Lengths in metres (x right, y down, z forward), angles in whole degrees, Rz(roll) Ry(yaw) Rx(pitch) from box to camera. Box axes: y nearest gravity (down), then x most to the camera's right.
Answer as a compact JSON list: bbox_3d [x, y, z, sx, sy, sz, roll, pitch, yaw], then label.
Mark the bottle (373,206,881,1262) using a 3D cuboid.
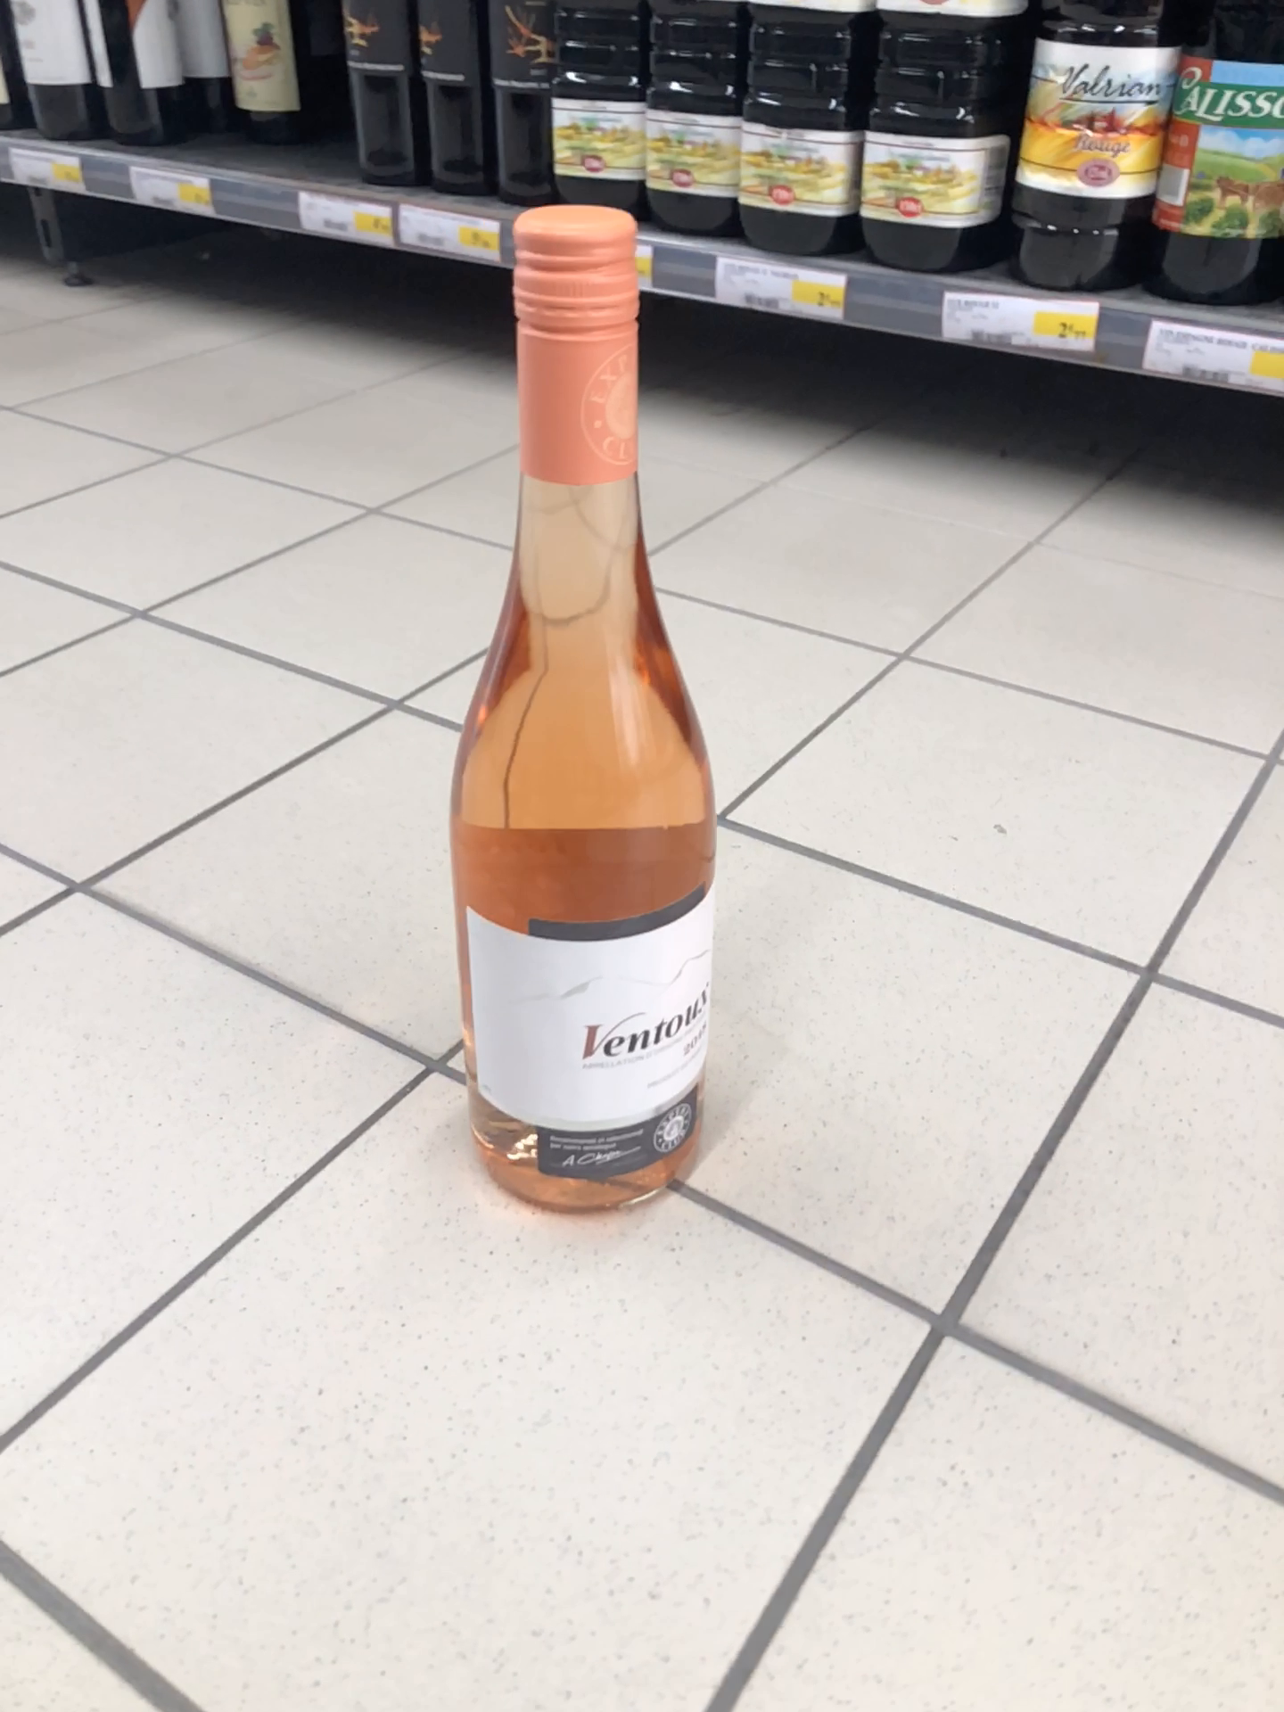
[{"bbox_3d":[-0.006,-0.024,0.402,0.090,0.278,0.080,-17,37,-24],"label":"bottle"}]
